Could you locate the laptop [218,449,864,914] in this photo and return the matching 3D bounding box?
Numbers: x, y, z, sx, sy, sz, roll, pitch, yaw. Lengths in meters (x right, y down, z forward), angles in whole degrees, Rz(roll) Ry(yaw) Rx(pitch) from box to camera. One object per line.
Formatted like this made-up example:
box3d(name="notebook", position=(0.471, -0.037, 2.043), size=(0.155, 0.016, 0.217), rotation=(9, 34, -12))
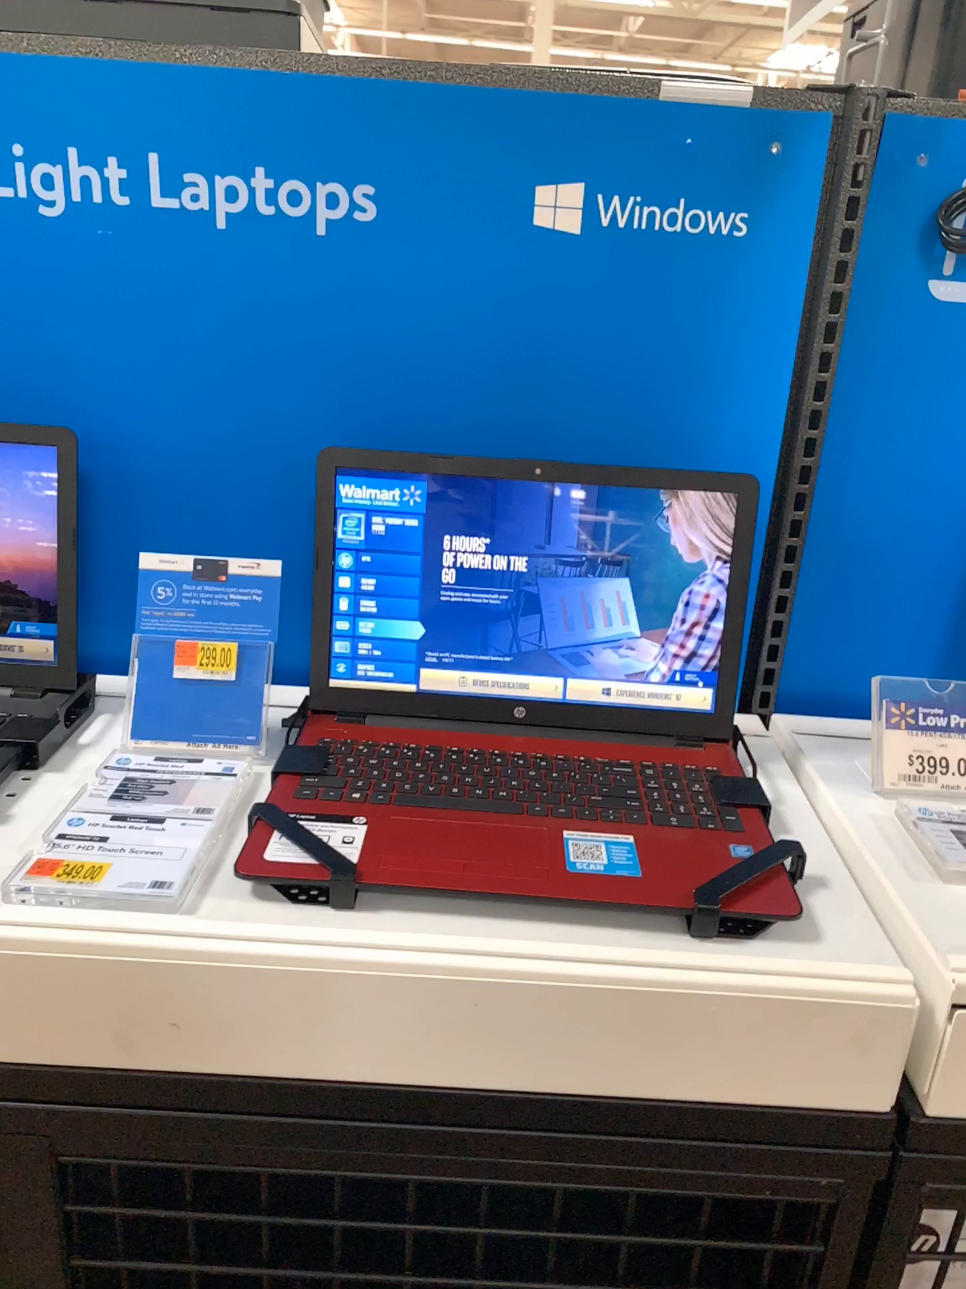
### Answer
box3d(name="laptop", position=(0.032, 0.005, 0.726), size=(0.364, 0.223, 0.280), rotation=(4, 21, 1))
